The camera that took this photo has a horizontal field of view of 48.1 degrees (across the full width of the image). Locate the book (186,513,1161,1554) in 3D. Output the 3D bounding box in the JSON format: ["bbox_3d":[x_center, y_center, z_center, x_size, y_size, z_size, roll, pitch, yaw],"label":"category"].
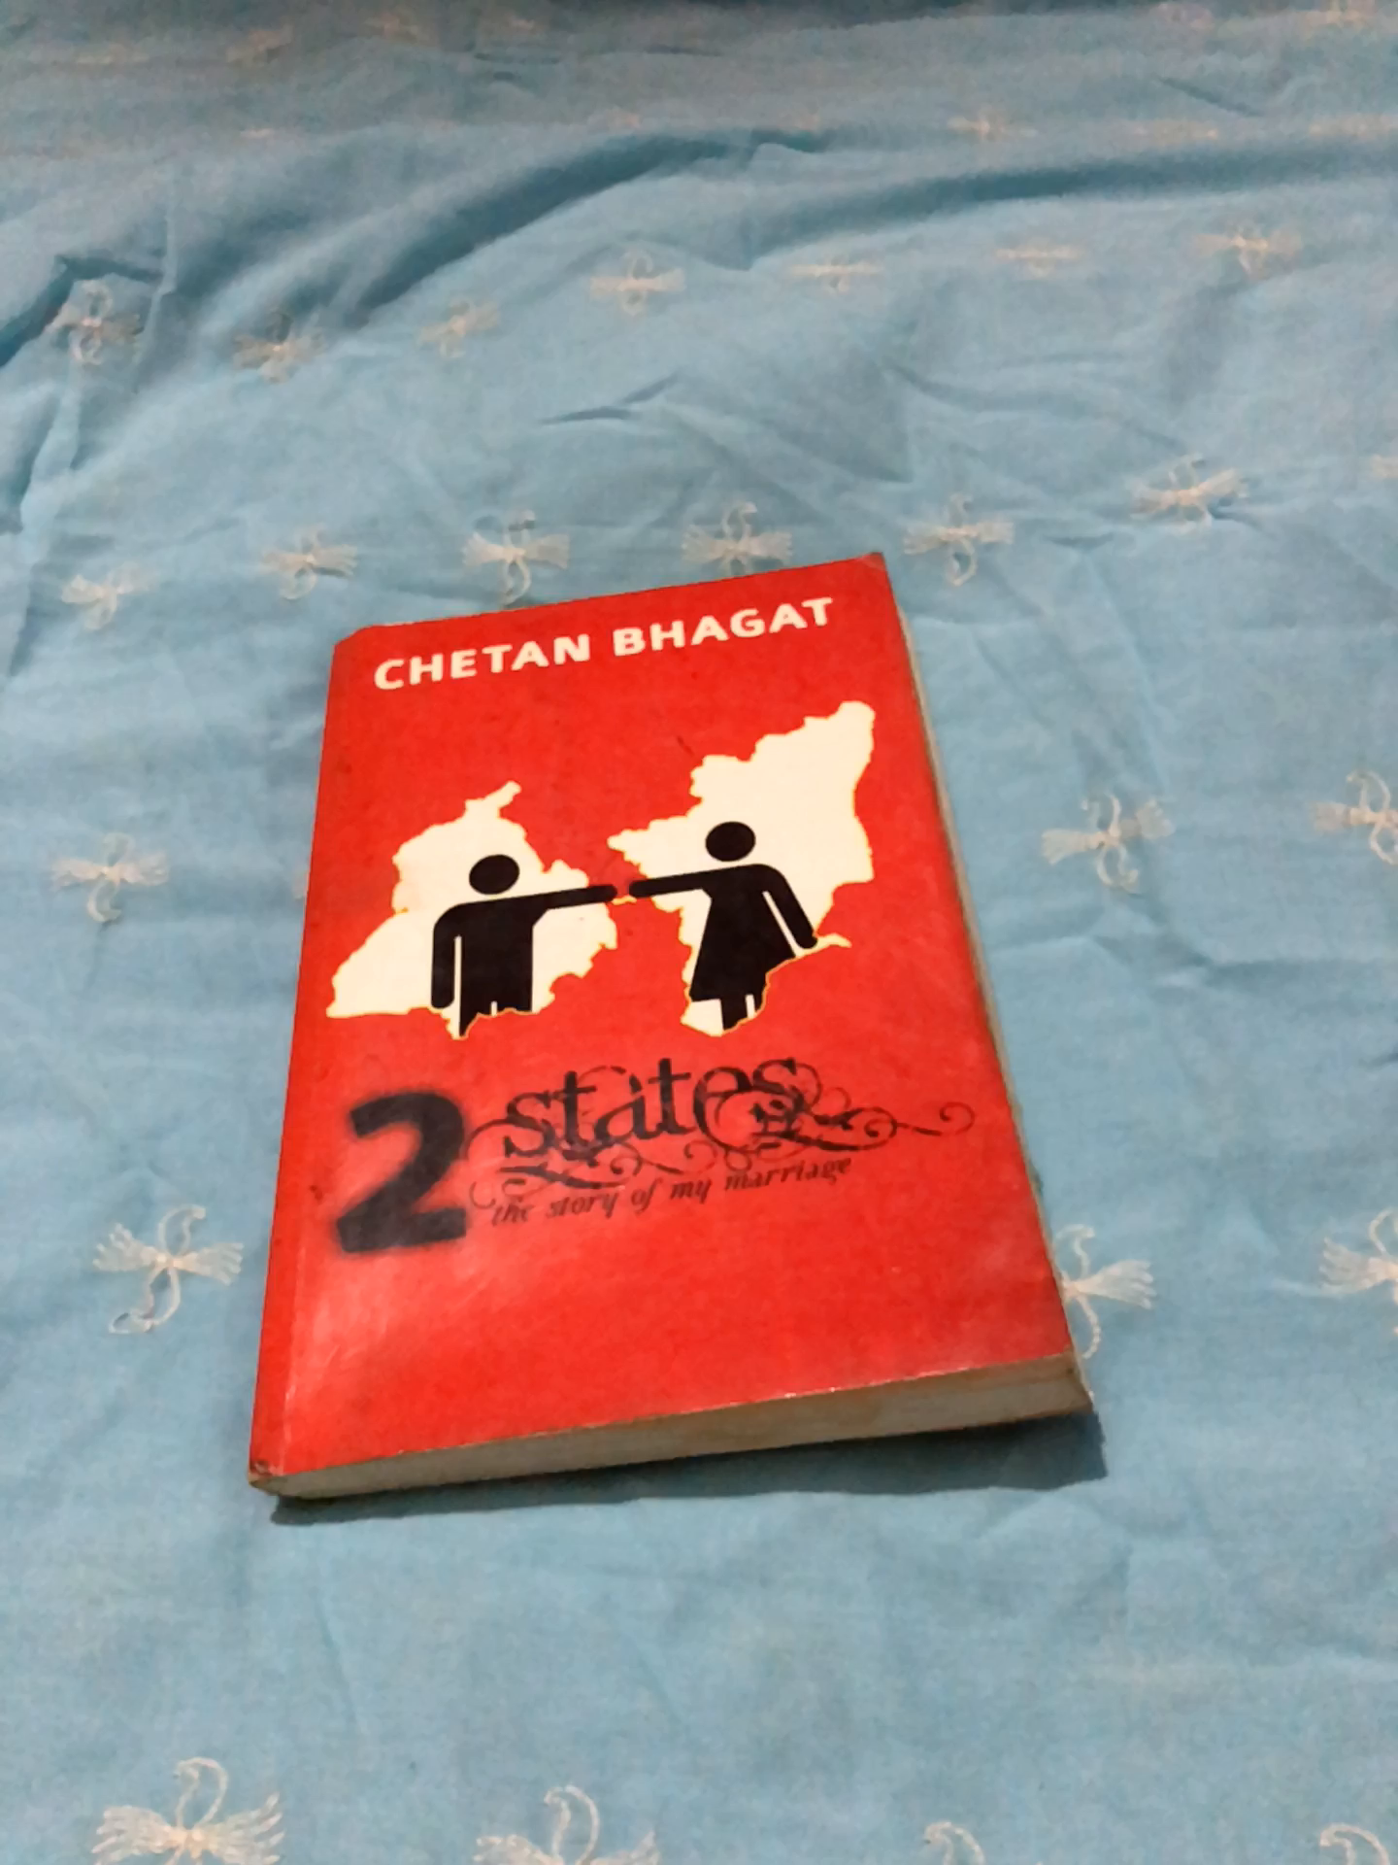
[{"bbox_3d":[-0.011,0.003,0.297,0.140,0.030,0.201,-7,51,1],"label":"book"}]
